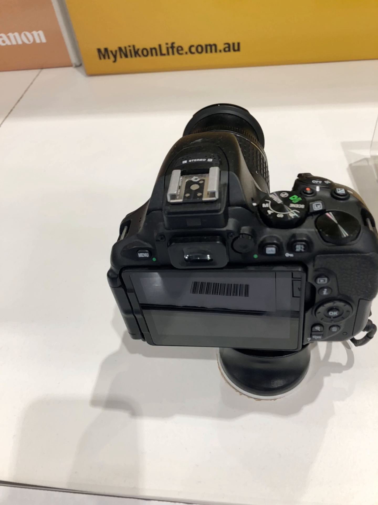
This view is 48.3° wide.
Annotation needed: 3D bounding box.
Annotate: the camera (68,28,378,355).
[{"bbox_3d":[0.030,-0.041,0.243,0.127,0.097,0.163,0,48,9],"label":"camera"}]
